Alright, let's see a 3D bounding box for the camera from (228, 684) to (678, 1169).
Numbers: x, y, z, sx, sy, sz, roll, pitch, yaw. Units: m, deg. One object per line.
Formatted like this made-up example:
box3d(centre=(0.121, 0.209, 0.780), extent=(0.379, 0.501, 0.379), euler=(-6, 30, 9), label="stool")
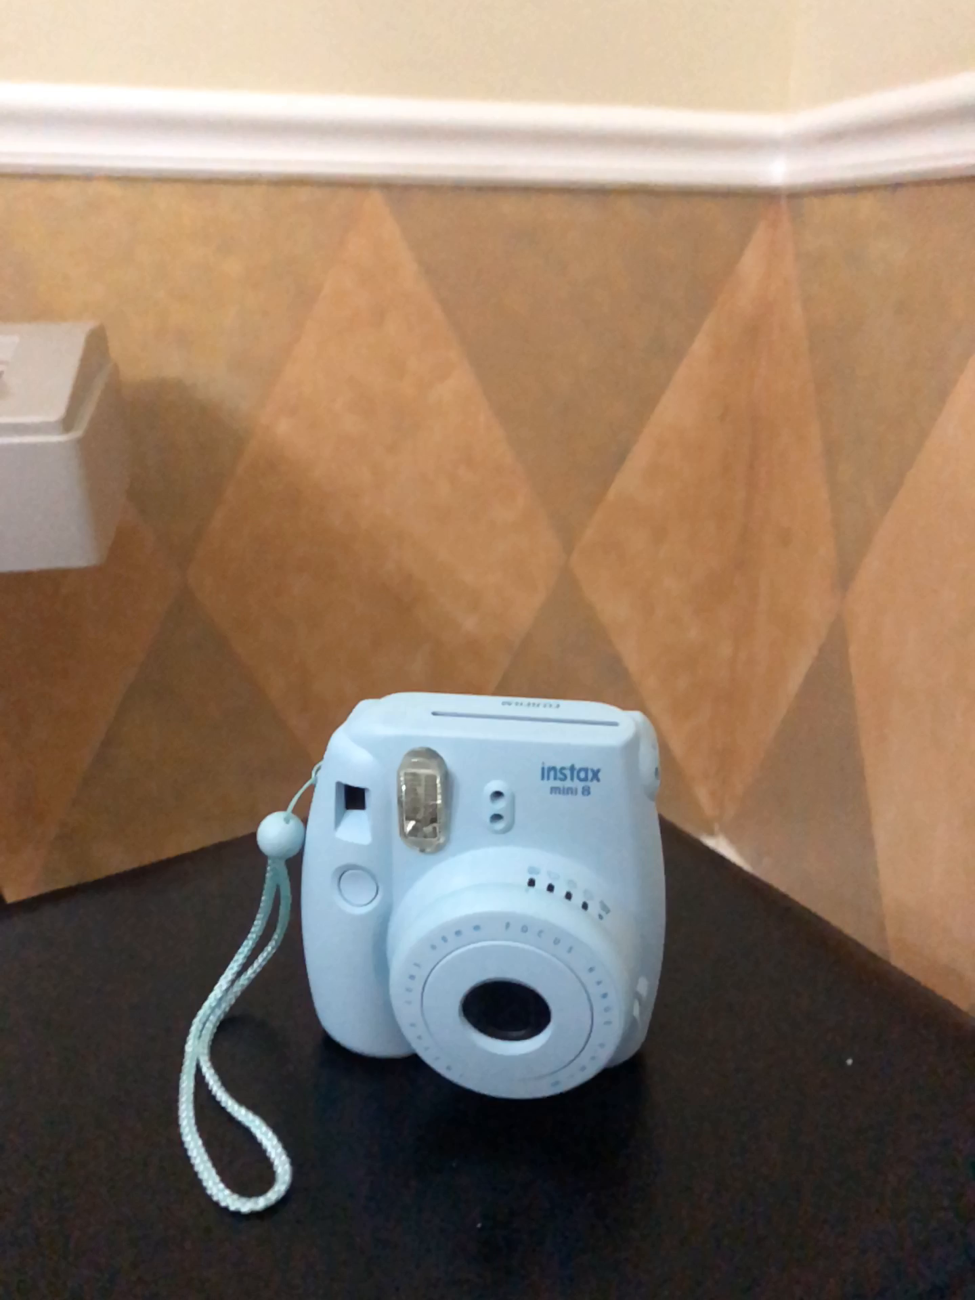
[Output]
box3d(centre=(-0.007, 0.082, 0.335), extent=(0.120, 0.118, 0.068), euler=(3, 20, 6), label="camera")
